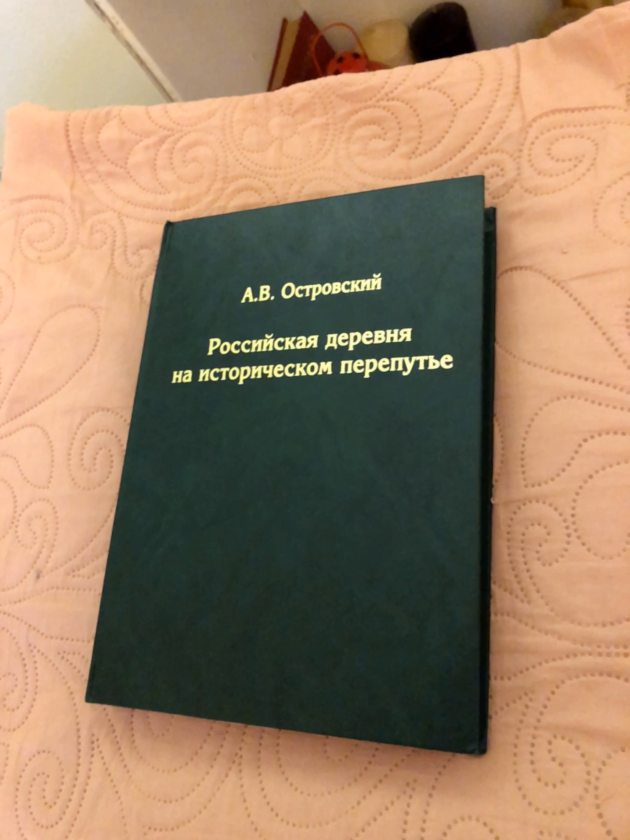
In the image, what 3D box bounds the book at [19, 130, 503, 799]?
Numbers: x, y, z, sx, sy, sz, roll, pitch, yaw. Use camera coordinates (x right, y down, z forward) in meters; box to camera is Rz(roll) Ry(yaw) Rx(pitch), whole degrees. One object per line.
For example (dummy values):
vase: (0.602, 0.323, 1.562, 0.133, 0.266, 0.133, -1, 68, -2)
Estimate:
book: (-0.016, 0.007, 0.294, 0.180, 0.040, 0.241, -2, 71, 22)
